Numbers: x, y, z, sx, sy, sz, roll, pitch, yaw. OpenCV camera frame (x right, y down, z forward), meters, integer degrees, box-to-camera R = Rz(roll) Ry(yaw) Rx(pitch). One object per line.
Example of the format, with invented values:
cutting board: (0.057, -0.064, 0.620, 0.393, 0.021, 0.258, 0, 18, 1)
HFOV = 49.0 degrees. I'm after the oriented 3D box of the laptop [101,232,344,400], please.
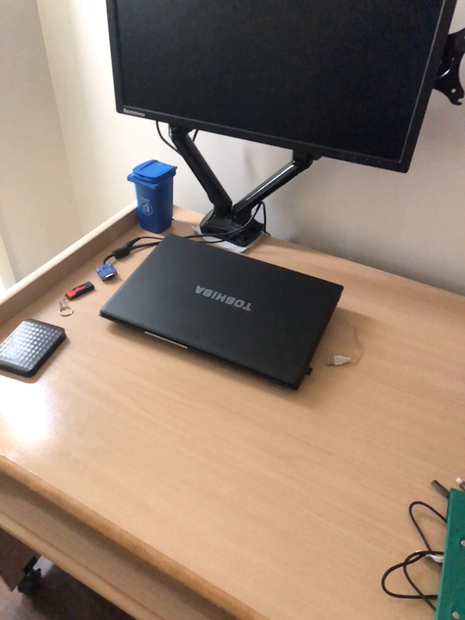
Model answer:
laptop: (-0.014, -0.010, 0.960, 0.380, 0.029, 0.257, 19, 50, 18)
